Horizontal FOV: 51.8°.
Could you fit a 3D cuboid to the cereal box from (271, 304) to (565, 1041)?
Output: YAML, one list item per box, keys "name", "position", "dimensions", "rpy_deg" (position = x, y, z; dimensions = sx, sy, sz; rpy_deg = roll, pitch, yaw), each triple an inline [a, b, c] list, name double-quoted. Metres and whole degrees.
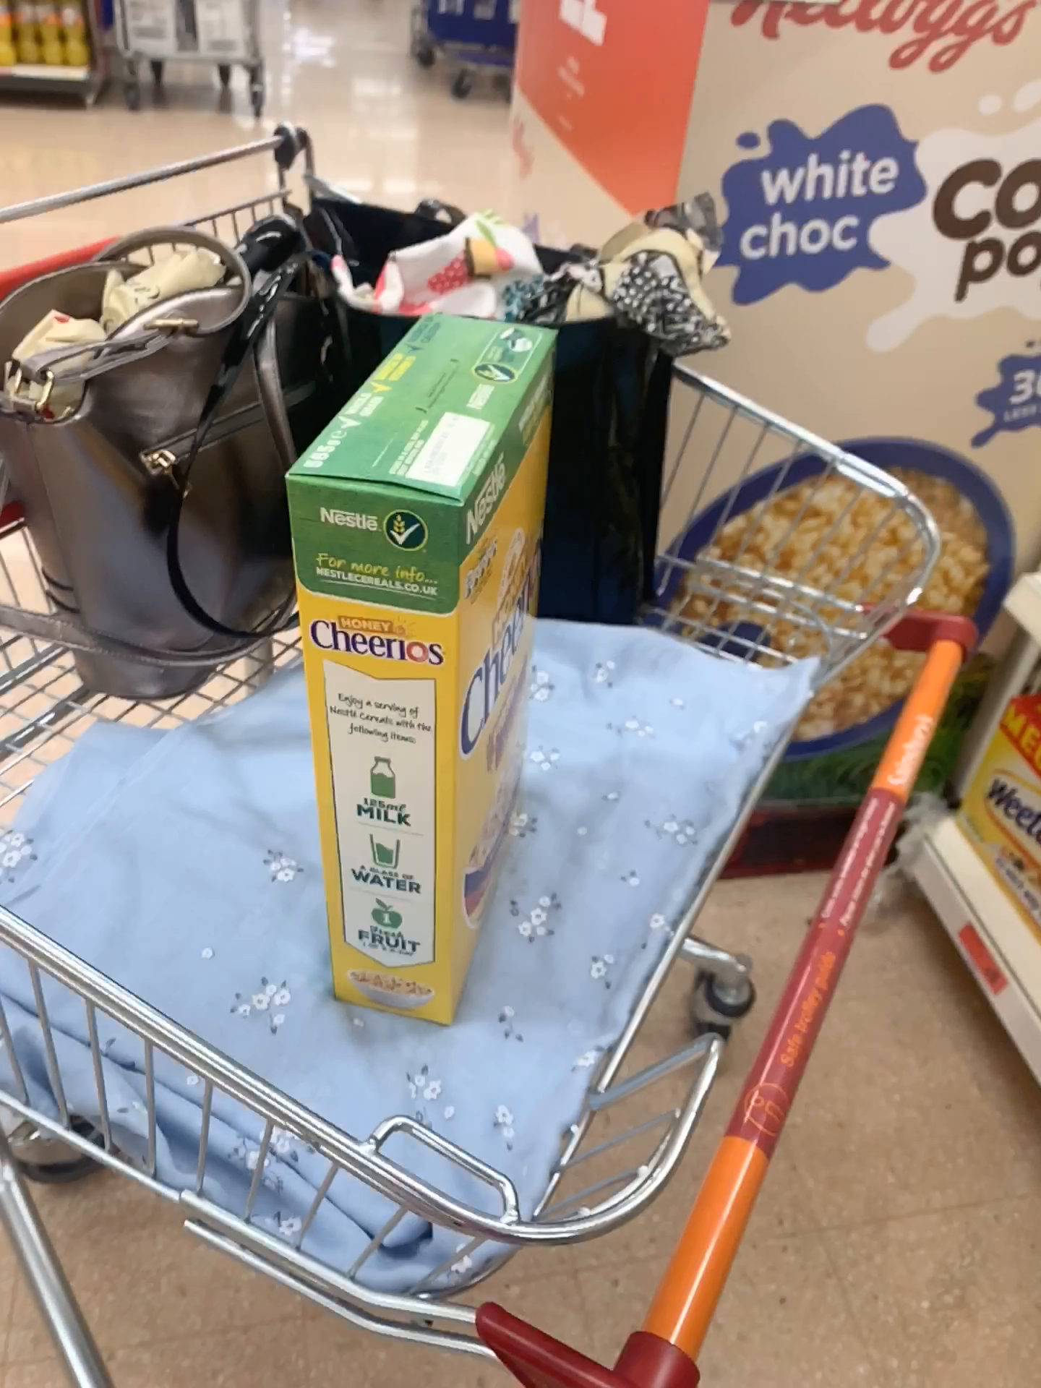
- name: "cereal box"
  position: [-0.049, -0.005, 0.603]
  dimensions: [0.080, 0.347, 0.212]
  rpy_deg: [10, 38, 7]
